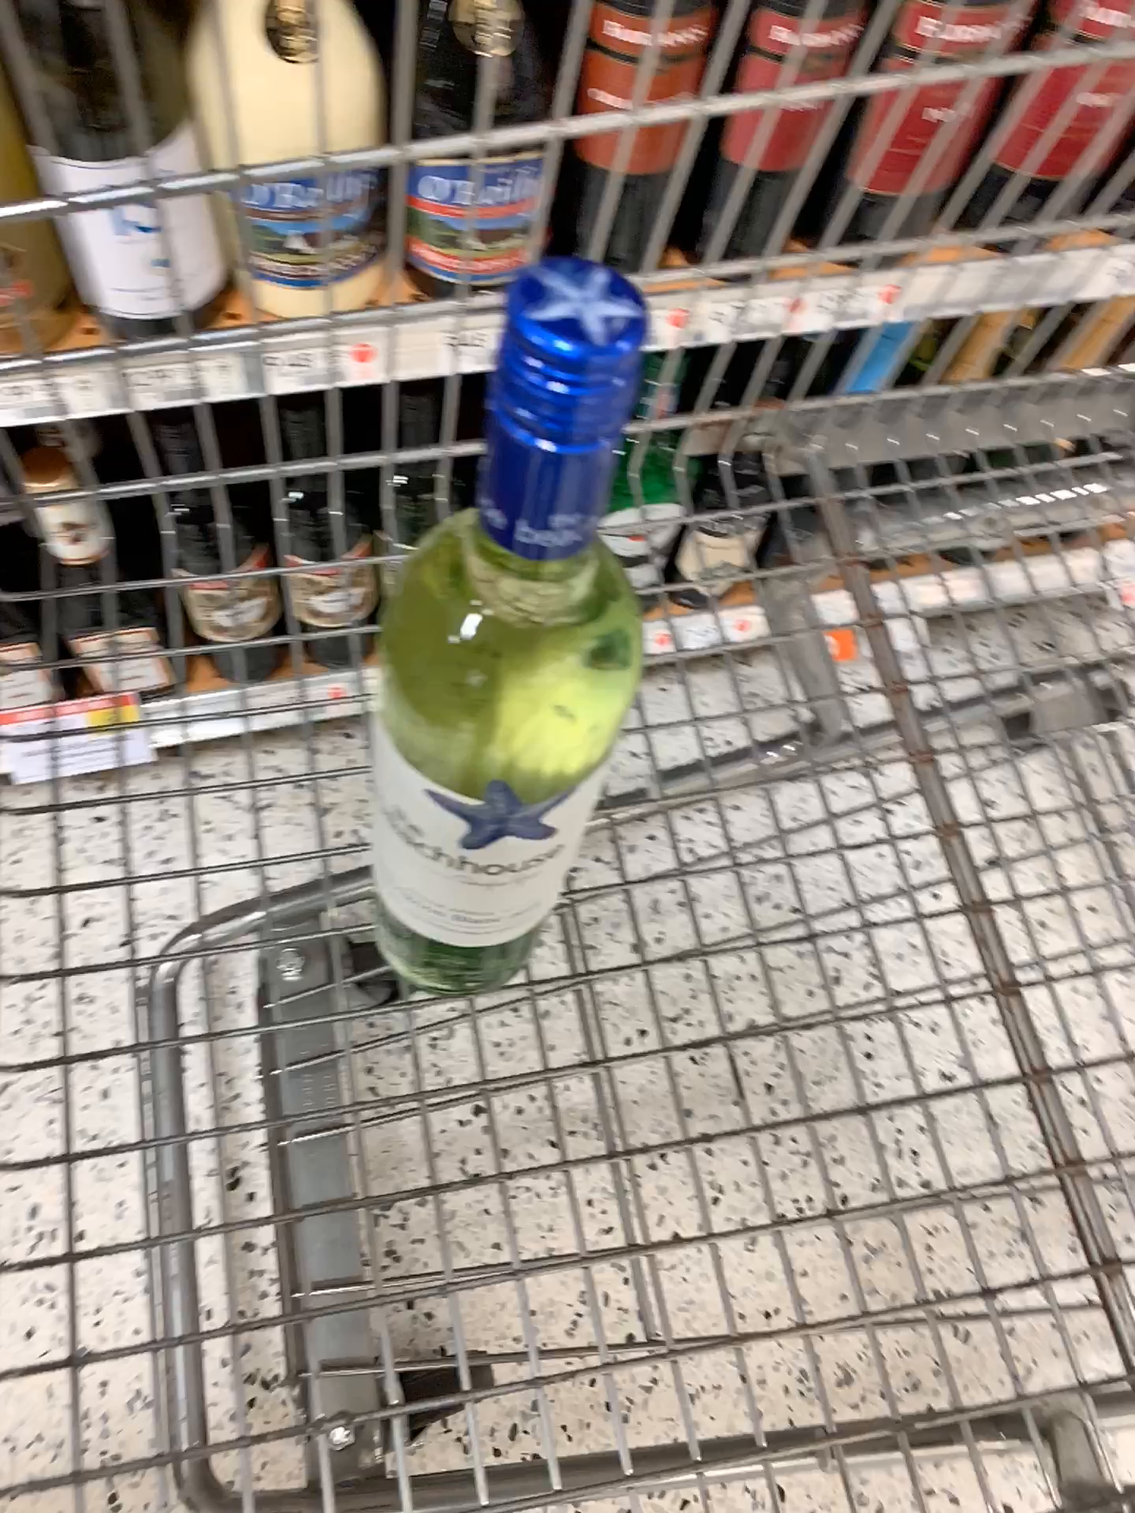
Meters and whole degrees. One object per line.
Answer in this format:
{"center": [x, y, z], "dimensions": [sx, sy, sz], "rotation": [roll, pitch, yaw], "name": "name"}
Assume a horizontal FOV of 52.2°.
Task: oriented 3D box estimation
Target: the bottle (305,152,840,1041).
{"center": [-0.020, 0.000, 0.363], "dimensions": [0.090, 0.338, 0.091], "rotation": [3, 62, -6], "name": "bottle"}
